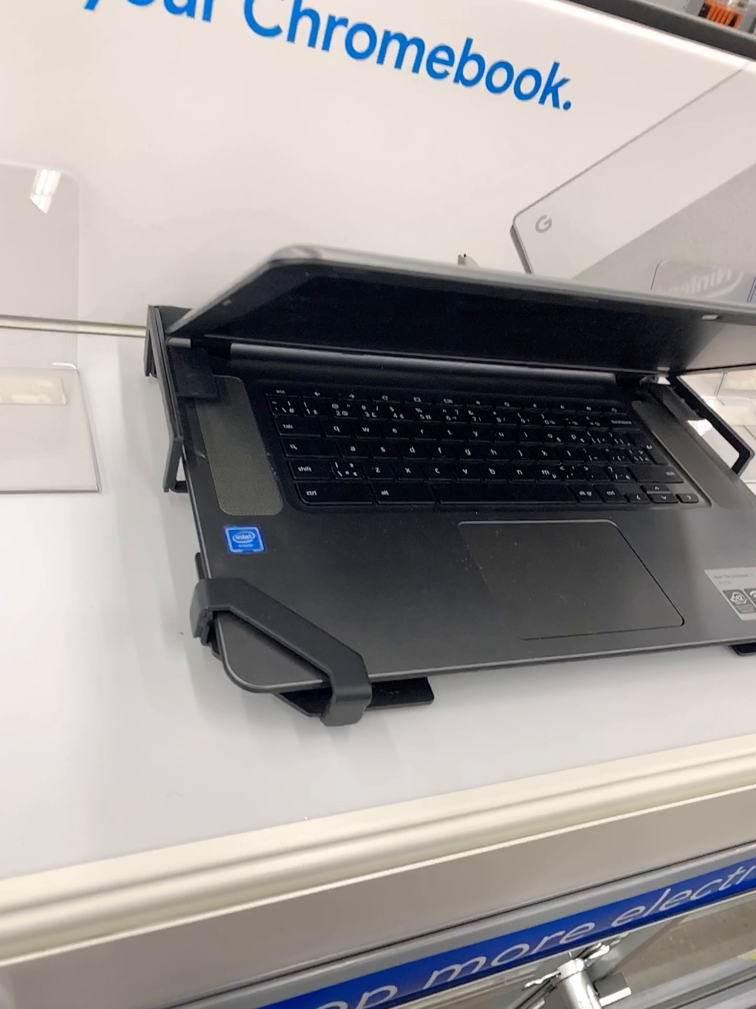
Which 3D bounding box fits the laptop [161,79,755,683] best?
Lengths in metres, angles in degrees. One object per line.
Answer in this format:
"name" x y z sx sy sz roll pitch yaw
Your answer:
"laptop" 0.079 -0.054 0.335 0.301 0.116 0.194 0 44 -24
